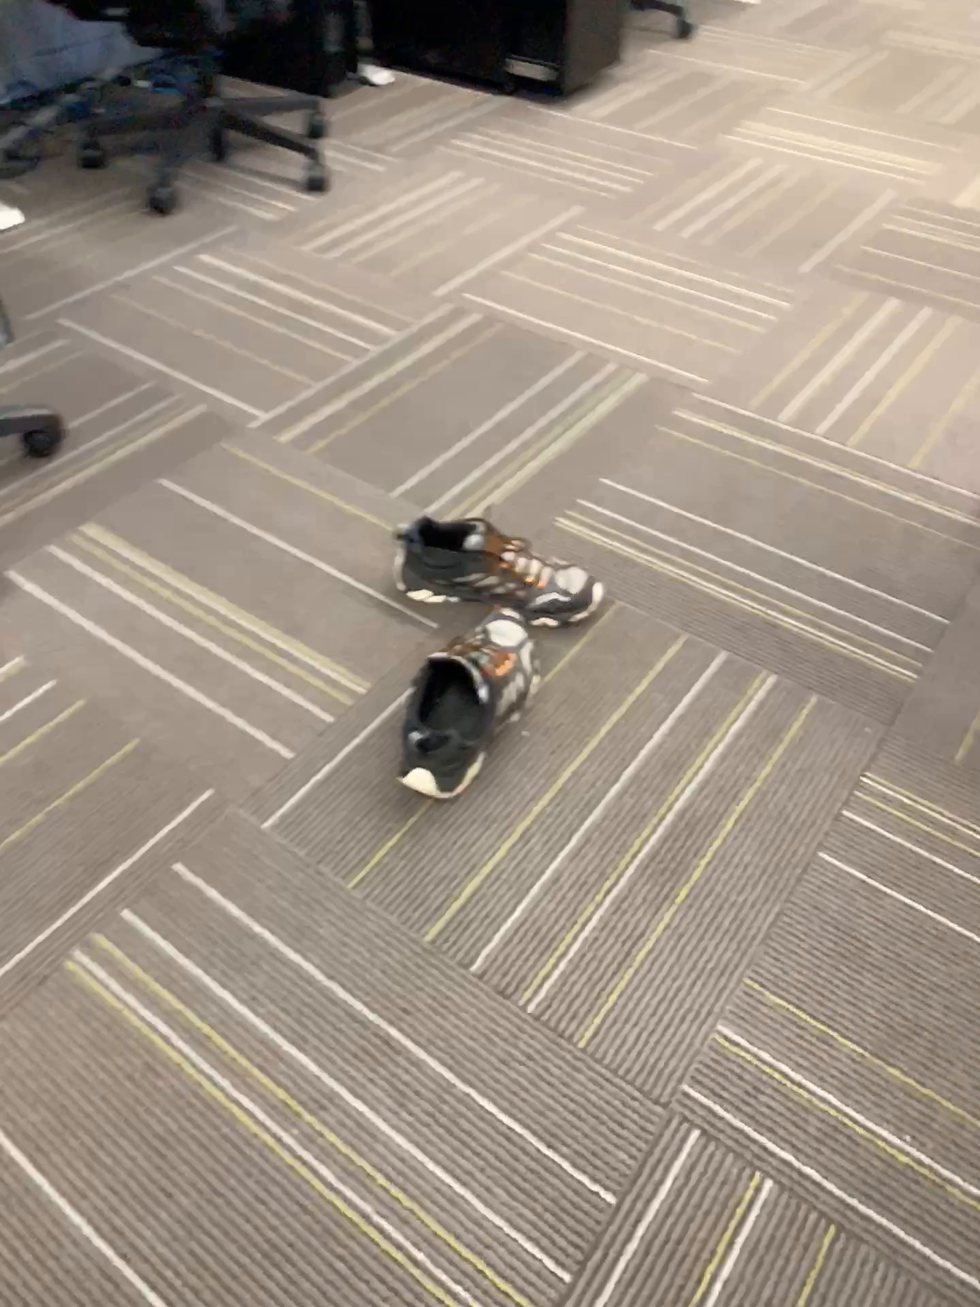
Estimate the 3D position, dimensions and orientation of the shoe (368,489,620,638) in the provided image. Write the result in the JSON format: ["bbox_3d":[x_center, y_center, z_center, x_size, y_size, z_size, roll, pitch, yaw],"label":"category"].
[{"bbox_3d":[0.008,-0.142,1.515,0.350,0.089,0.151,12,47,10],"label":"shoe"}]

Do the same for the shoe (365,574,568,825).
[{"bbox_3d":[-0.023,0.051,1.369,0.150,0.089,0.352,17,48,15],"label":"shoe"}]
